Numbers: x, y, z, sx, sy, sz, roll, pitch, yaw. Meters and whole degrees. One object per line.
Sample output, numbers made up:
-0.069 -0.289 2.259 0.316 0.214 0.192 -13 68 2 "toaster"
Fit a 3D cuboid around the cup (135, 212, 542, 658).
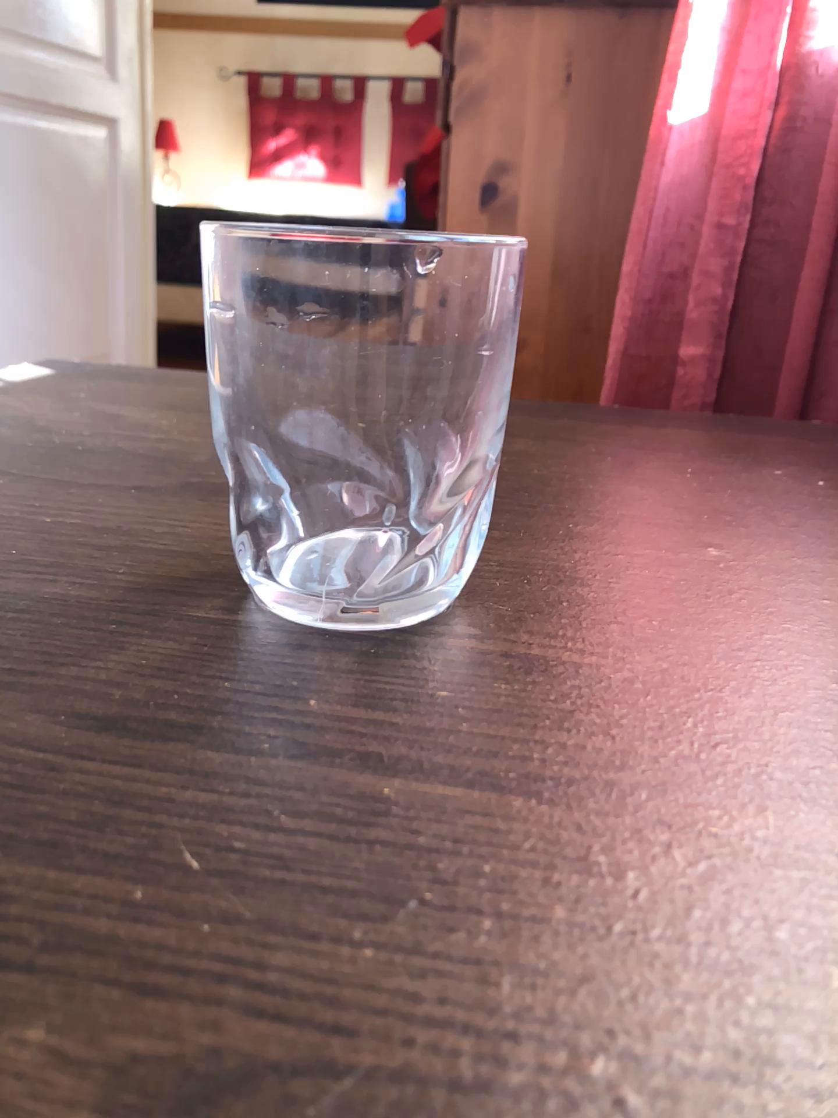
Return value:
-0.014 -0.036 0.226 0.075 0.085 0.078 3 19 -1 "cup"
